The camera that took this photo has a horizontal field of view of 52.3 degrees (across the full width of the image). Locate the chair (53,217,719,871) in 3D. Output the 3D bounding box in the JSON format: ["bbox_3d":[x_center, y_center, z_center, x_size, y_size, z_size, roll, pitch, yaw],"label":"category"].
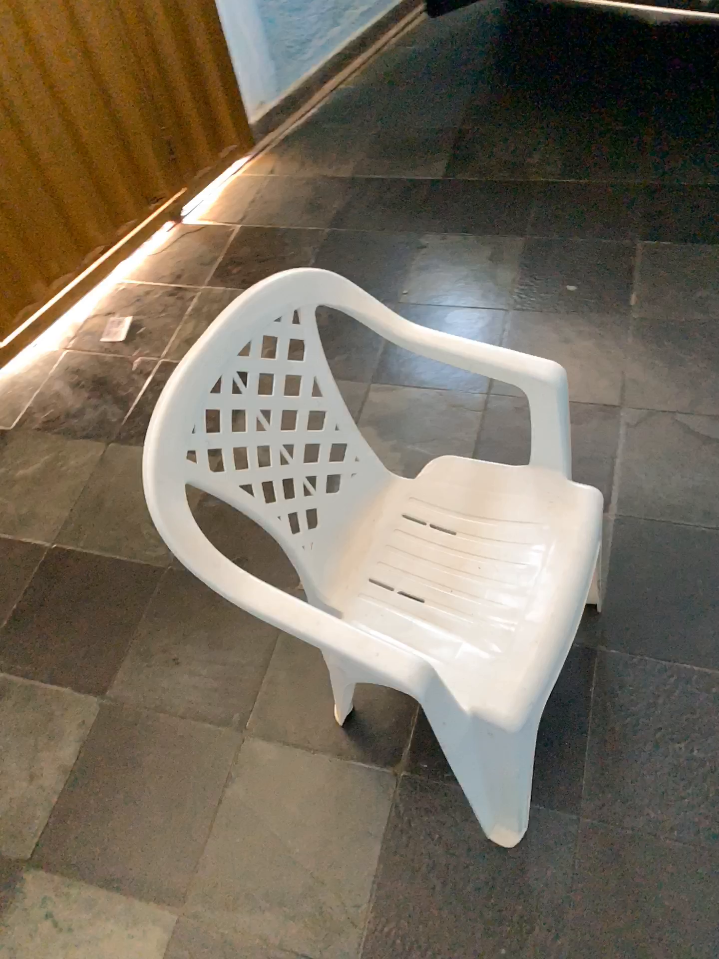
[{"bbox_3d":[0.101,0.115,1.094,0.591,0.717,0.542,14,57,20],"label":"chair"}]
